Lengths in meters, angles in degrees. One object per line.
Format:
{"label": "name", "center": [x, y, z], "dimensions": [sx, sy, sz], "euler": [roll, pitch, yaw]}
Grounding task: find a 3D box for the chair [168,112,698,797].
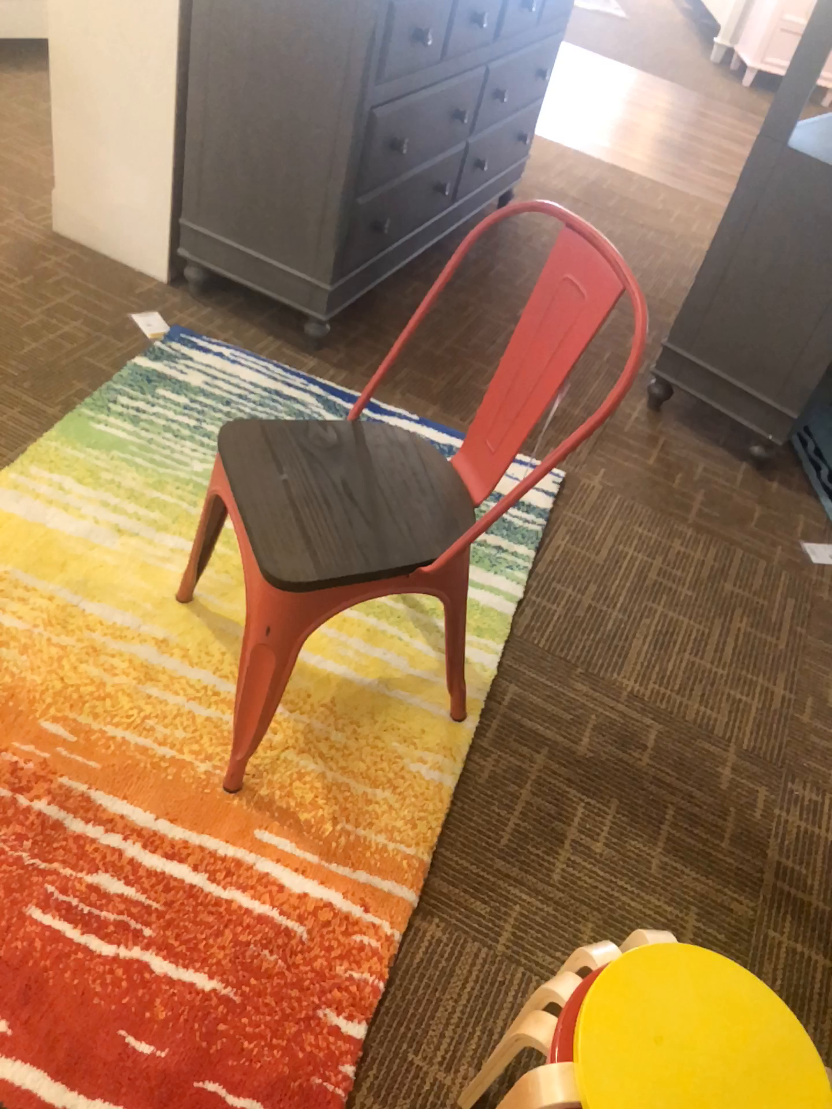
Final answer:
{"label": "chair", "center": [-0.072, -0.106, 1.372], "dimensions": [0.491, 0.856, 0.452], "euler": [-4, 45, -22]}
